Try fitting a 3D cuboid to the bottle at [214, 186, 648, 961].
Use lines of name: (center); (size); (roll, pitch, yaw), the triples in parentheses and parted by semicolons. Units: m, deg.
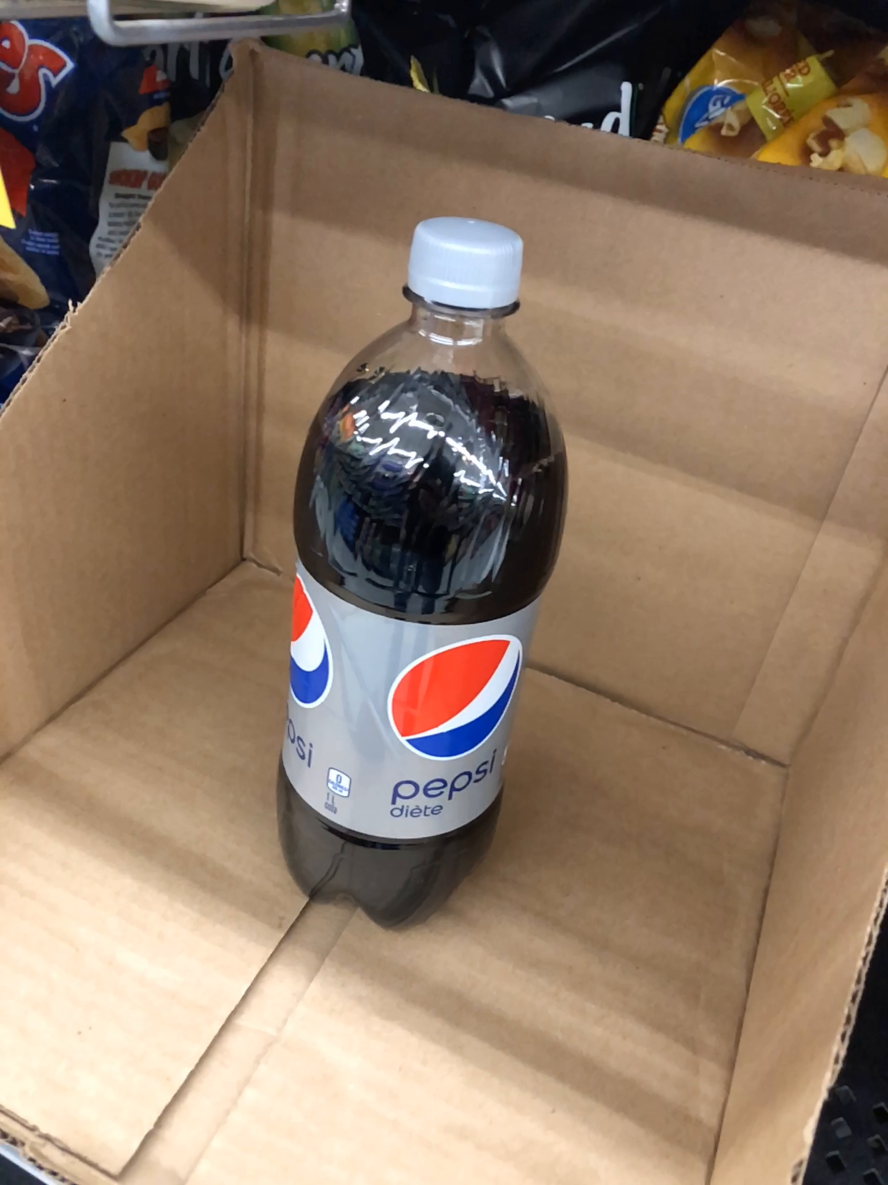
bottle: (-0.019, 0.006, 0.306); (0.090, 0.228, 0.081); (-4, 38, -15)
